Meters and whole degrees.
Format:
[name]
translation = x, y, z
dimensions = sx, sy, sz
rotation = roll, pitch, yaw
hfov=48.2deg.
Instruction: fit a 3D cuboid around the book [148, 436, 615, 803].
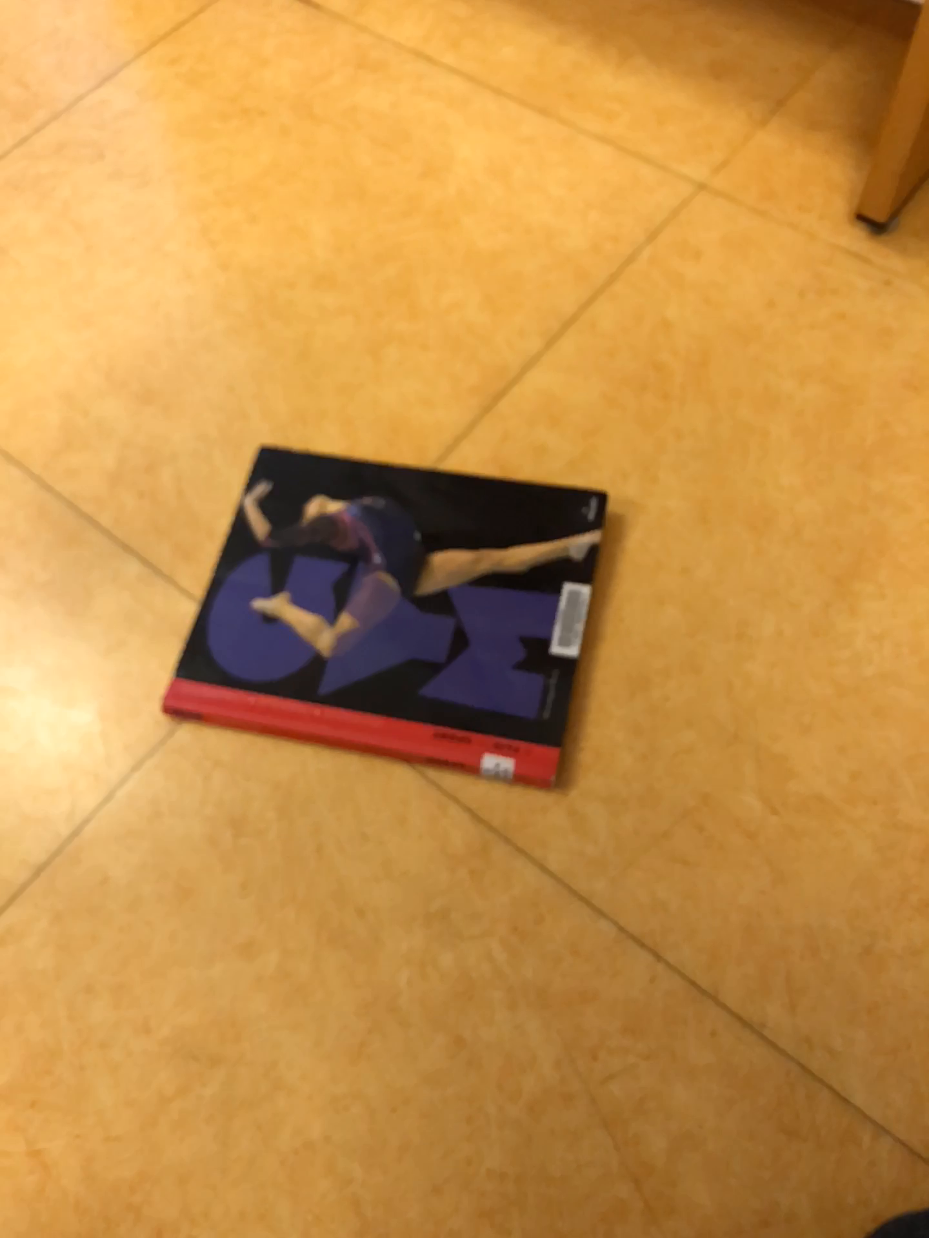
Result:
[book]
translation = -0.042, -0.008, 0.620
dimensions = 0.233, 0.030, 0.194
rotation = 9, 63, 9
